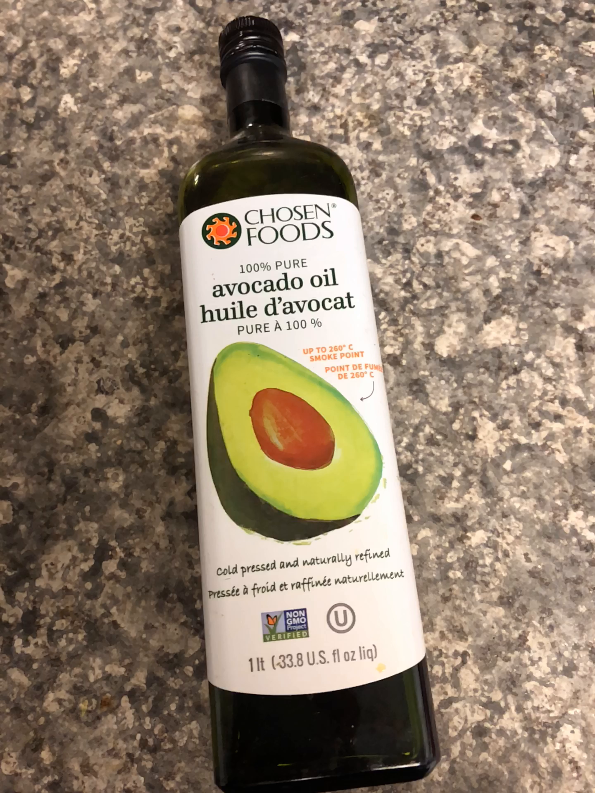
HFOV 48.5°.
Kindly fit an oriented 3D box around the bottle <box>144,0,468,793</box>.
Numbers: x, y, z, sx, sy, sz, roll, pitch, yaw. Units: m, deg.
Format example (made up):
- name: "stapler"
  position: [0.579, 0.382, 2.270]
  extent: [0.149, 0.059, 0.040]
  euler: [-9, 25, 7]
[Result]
- name: "bottle"
  position: [-0.006, -0.025, 0.267]
  extent: [0.080, 0.070, 0.320]
  euler: [-6, 76, 0]
